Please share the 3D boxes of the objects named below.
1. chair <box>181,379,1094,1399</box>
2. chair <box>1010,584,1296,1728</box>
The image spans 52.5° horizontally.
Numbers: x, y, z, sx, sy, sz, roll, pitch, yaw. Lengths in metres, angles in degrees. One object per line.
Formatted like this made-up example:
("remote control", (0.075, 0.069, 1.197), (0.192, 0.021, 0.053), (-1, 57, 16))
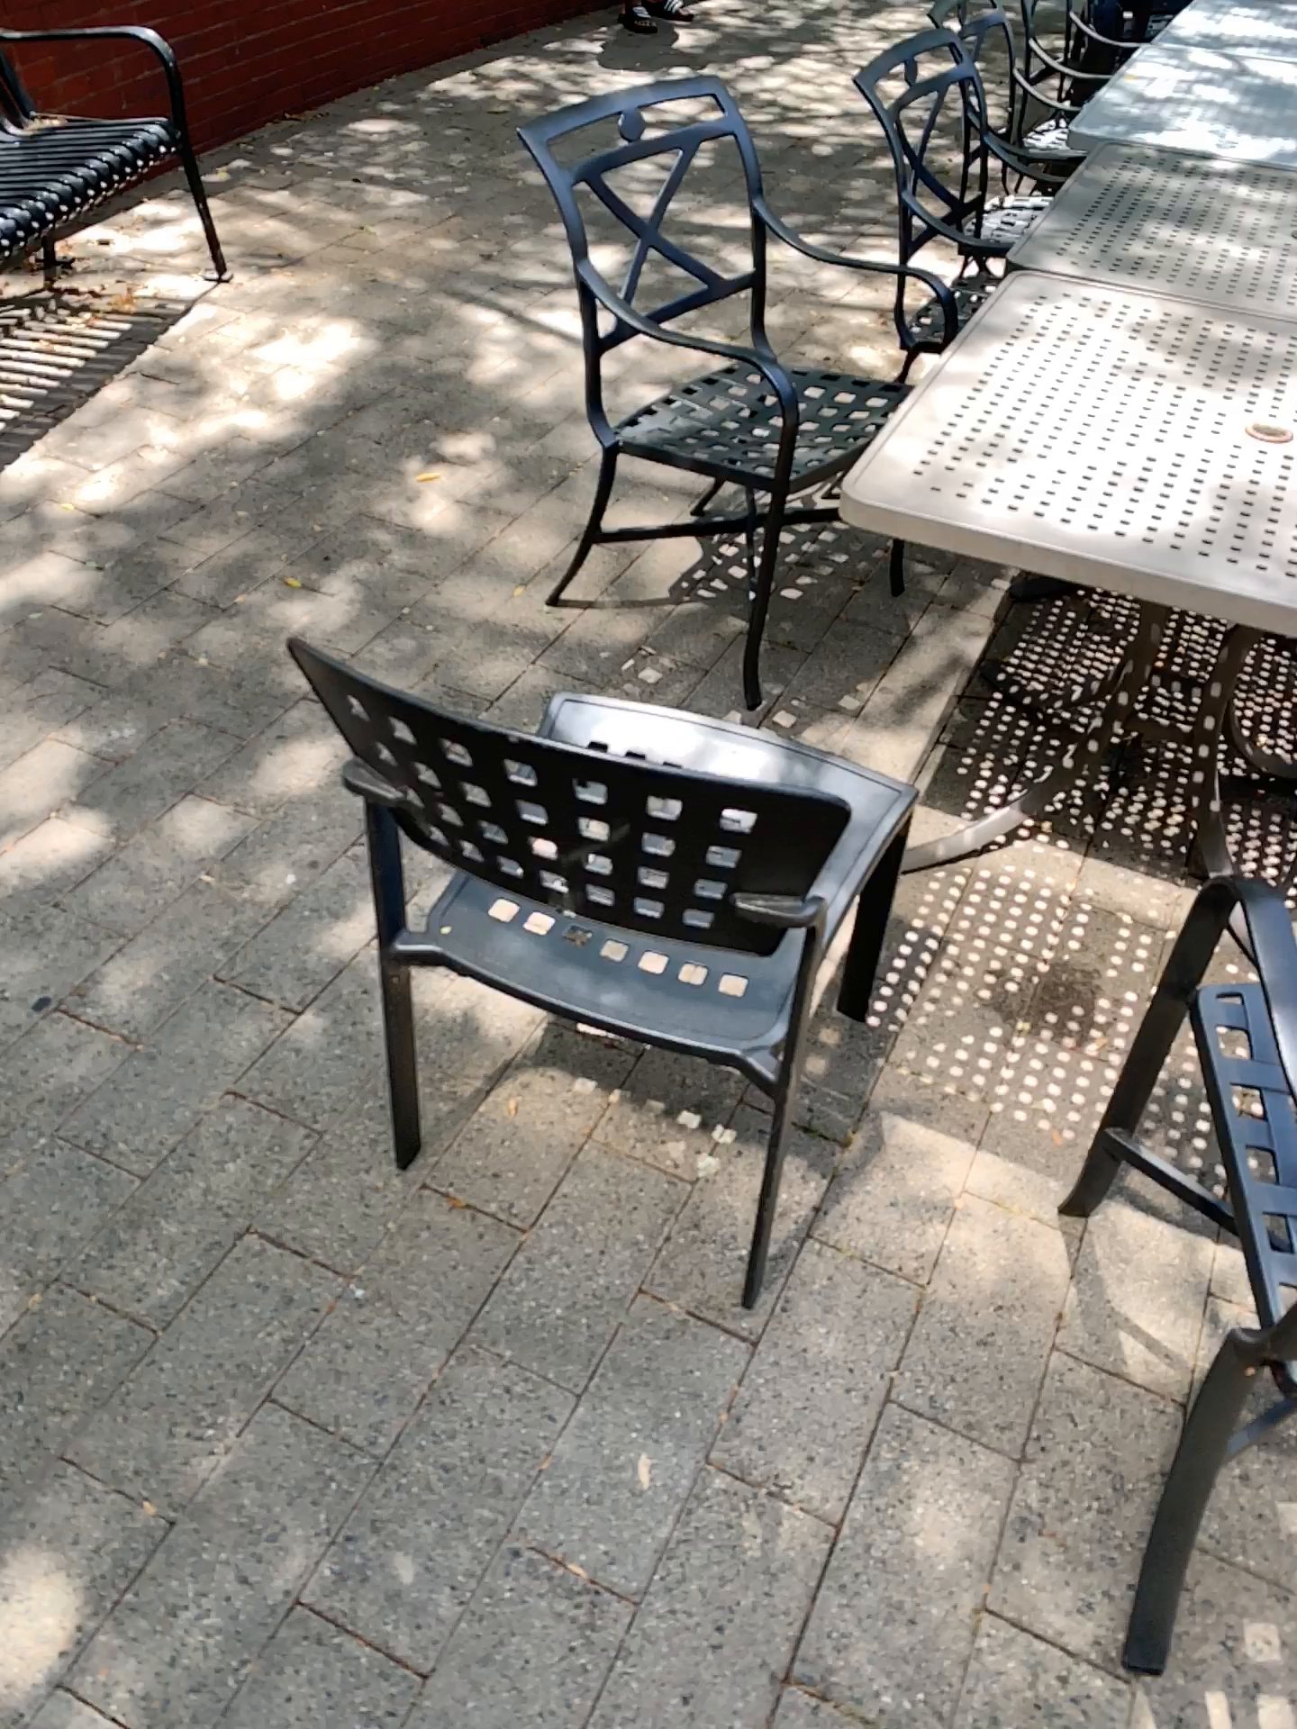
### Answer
("chair", (0.032, 0.000, 1.410), (0.621, 0.706, 0.653), (16, 44, 14))
("chair", (0.730, 0.292, 1.075), (0.620, 0.756, 0.654), (4, 42, 2))
